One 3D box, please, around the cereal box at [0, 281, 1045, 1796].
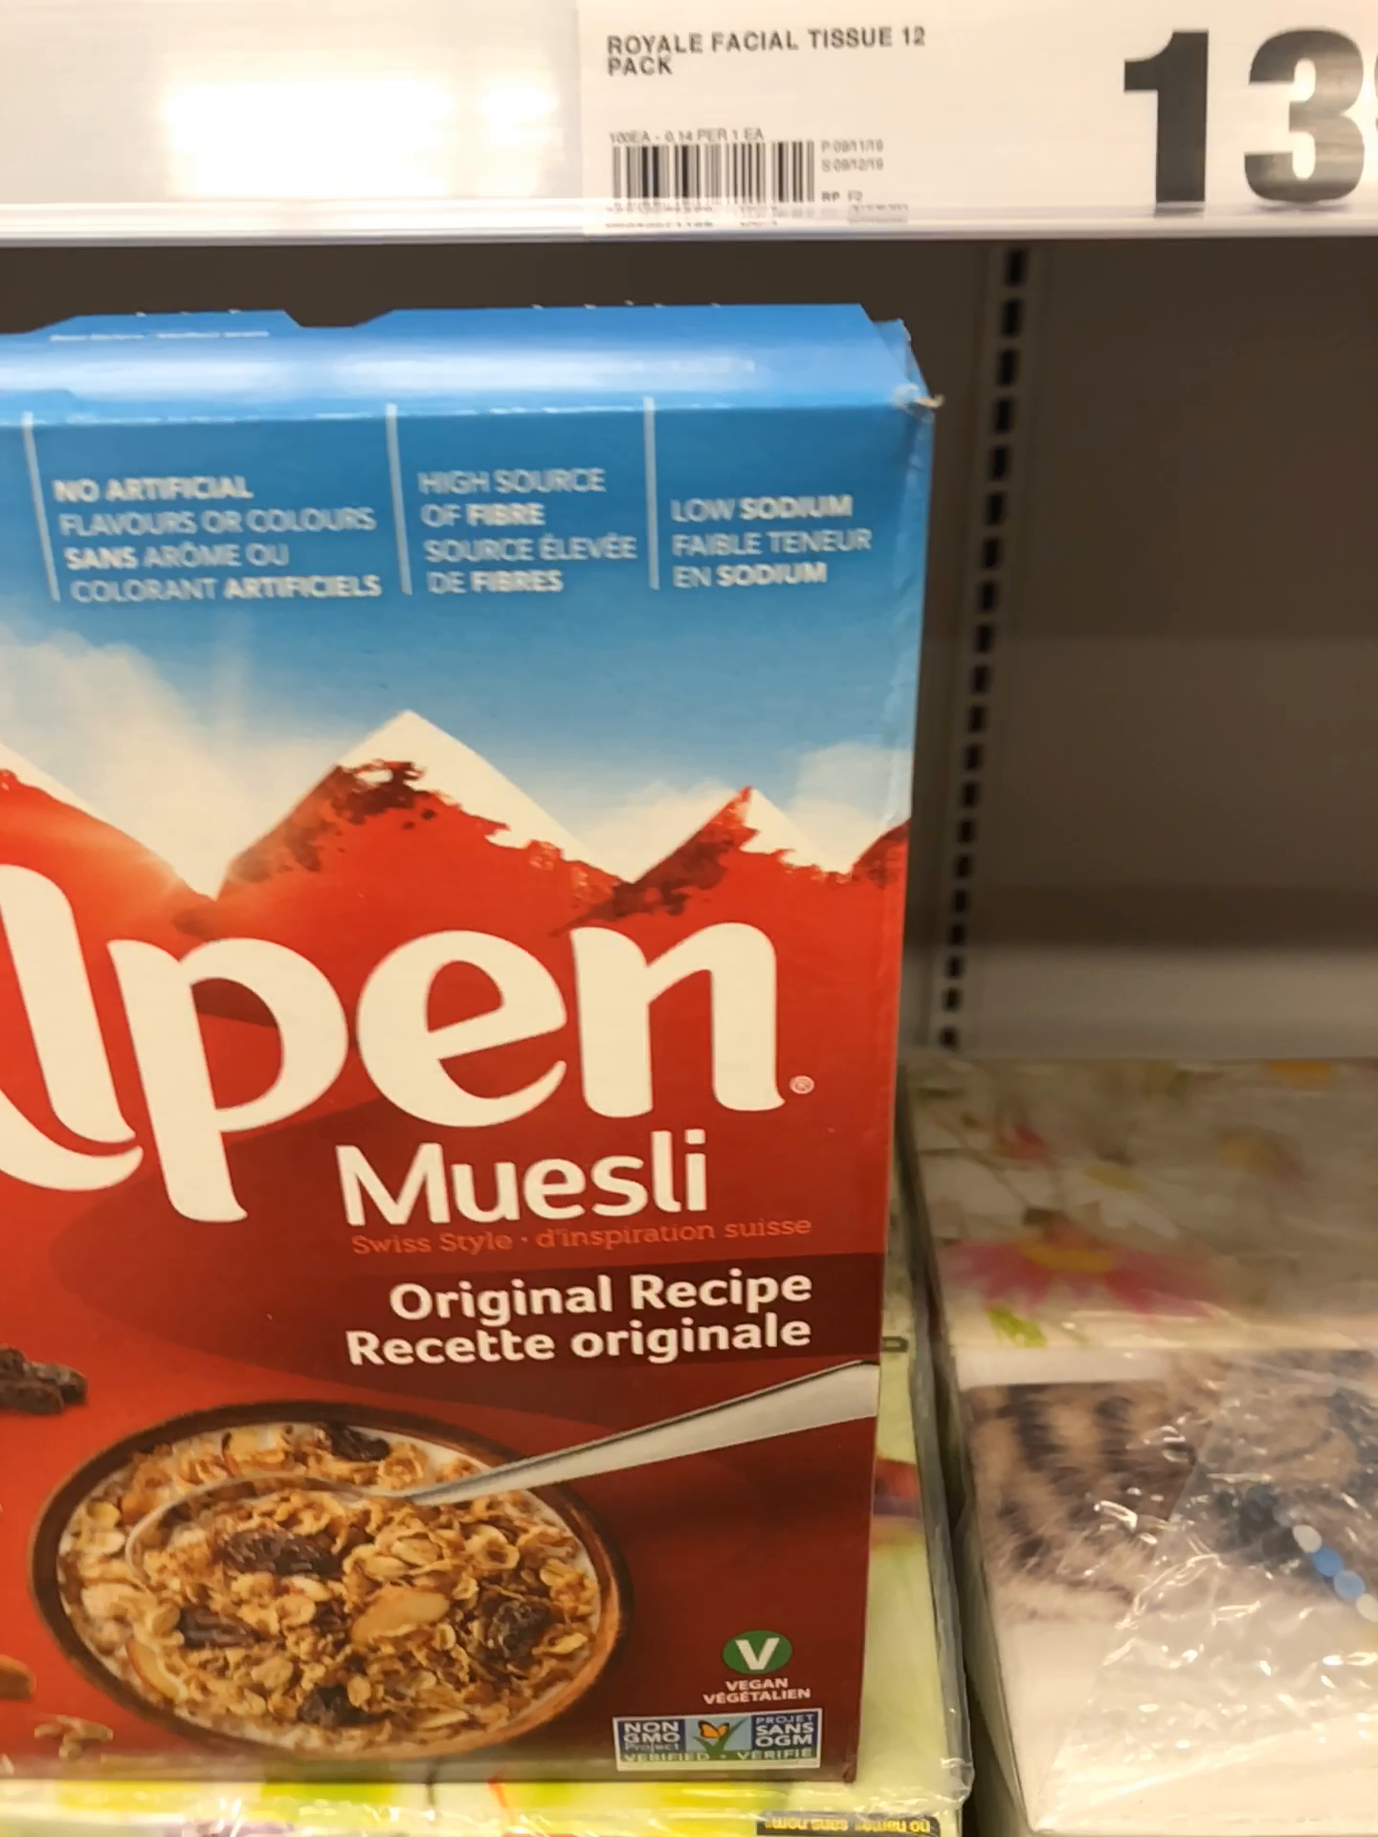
[{"bbox_3d":[-0.055,0.035,0.225,0.180,0.229,0.050,-1,30,0],"label":"cereal box"}]
